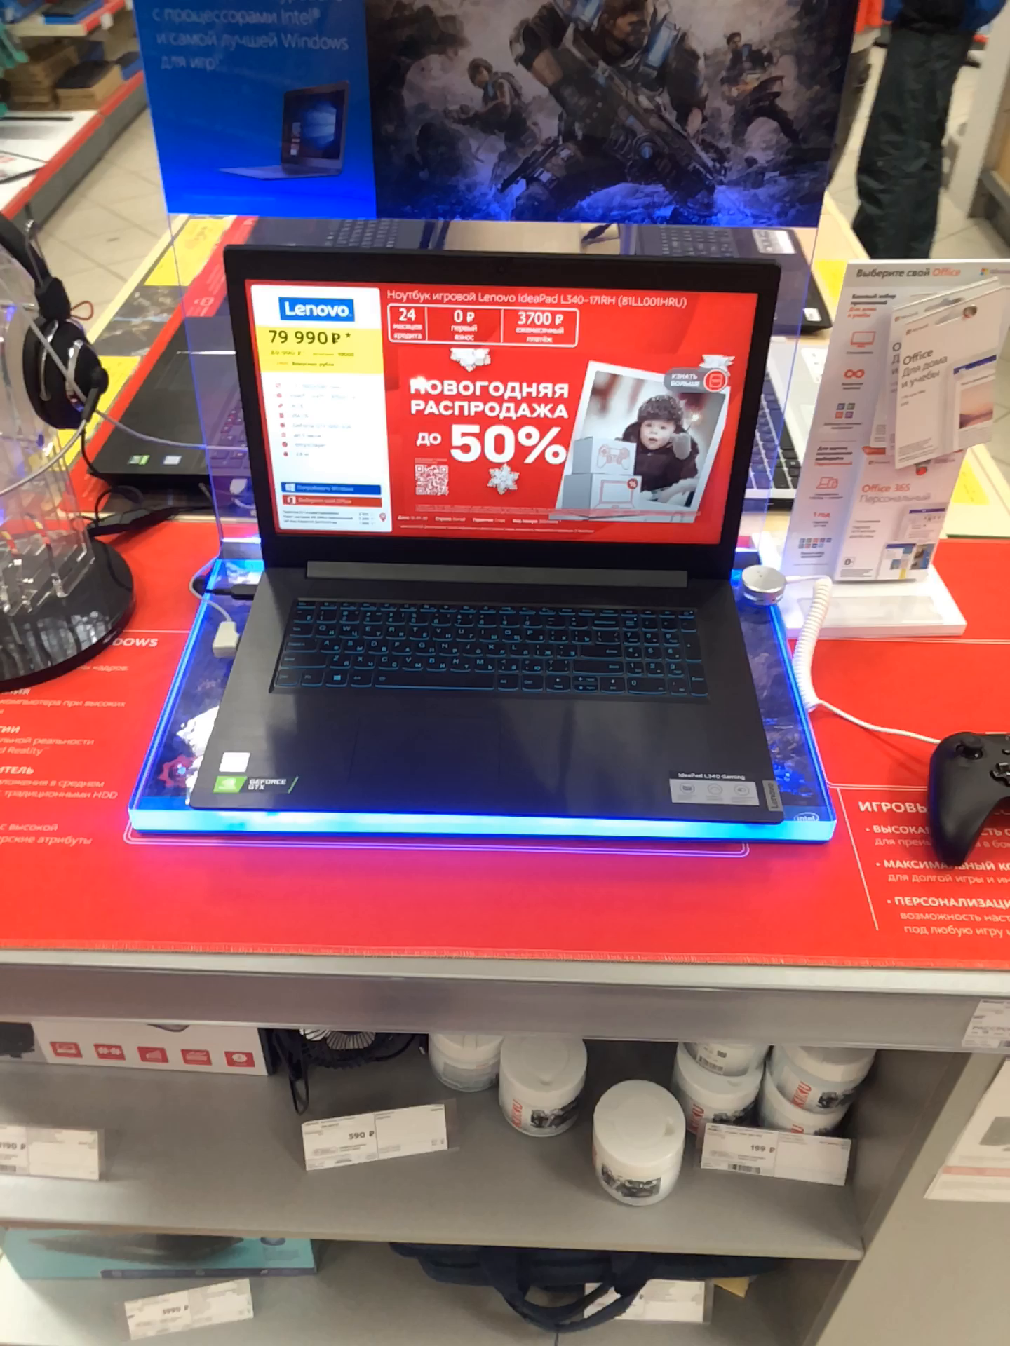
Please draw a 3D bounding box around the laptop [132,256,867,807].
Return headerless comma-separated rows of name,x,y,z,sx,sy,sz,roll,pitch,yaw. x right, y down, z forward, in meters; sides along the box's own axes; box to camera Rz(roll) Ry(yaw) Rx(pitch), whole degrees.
laptop,0.002,-0.110,0.795,0.404,0.255,0.296,1,41,2
